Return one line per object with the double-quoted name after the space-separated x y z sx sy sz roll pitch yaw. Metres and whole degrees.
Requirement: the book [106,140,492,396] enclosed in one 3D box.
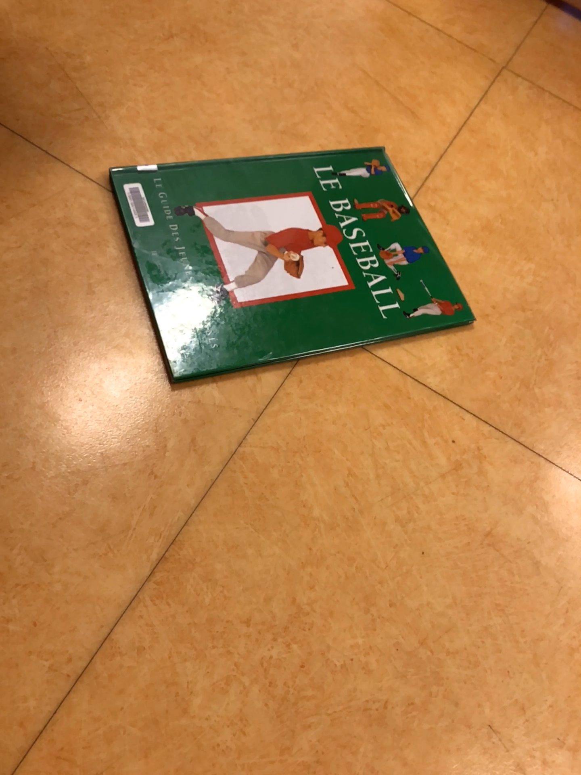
0.007 -0.120 0.554 0.281 0.020 0.219 -12 66 -21 "book"
